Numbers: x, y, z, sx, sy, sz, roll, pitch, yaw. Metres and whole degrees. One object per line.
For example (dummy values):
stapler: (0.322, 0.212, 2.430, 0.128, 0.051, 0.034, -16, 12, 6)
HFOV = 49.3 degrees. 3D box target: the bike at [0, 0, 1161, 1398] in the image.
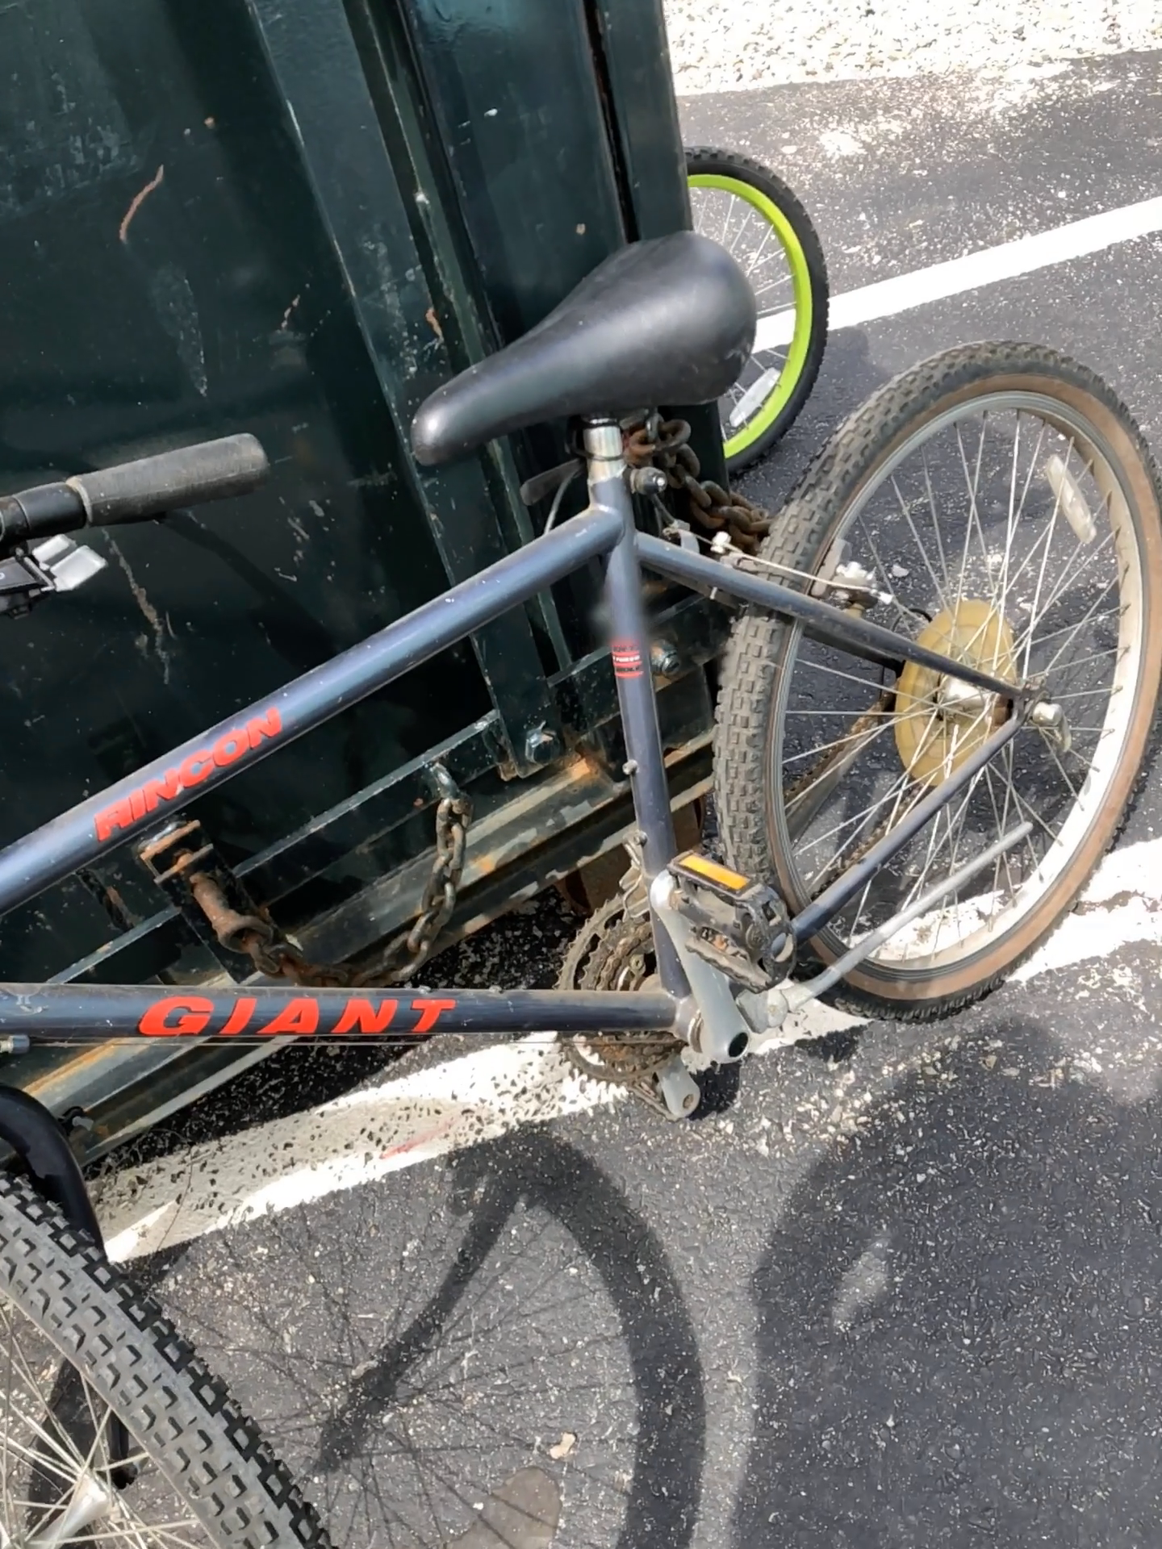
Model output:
bike: (-0.294, -0.109, 1.046, 1.098, 0.832, 0.637, -26, 50, -12)
